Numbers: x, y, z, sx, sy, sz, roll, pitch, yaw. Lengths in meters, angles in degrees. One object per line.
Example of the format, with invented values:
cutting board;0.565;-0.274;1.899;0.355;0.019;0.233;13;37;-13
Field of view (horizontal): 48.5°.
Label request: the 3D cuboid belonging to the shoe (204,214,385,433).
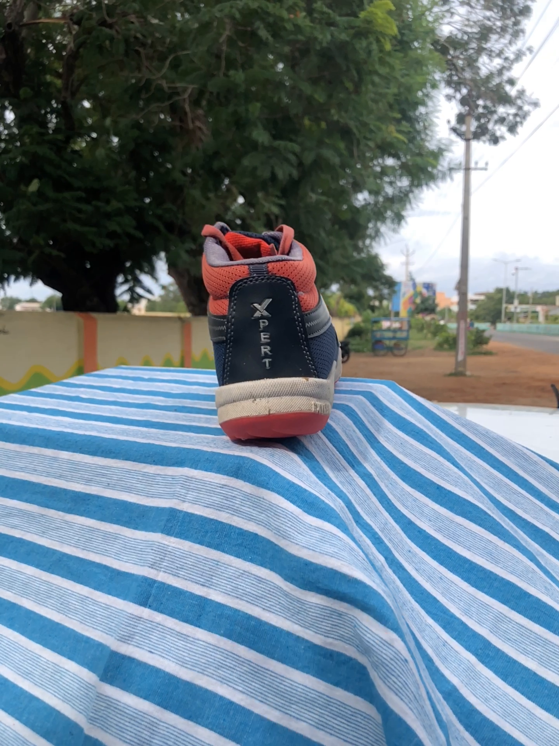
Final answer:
shoe;-0.004;-0.038;0.480;0.100;0.120;0.270;0;5;-5
